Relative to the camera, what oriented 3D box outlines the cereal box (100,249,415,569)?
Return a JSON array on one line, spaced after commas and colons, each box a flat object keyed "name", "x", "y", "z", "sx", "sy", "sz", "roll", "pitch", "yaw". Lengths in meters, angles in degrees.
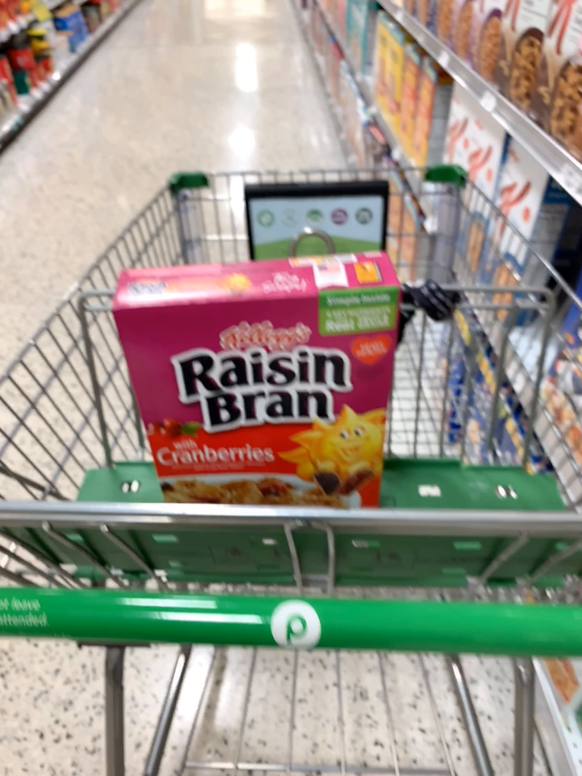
[{"name": "cereal box", "x": -0.019, "y": 0.042, "z": 0.536, "sx": 0.210, "sy": 0.327, "sz": 0.051, "roll": -4, "pitch": 43, "yaw": -2}]
